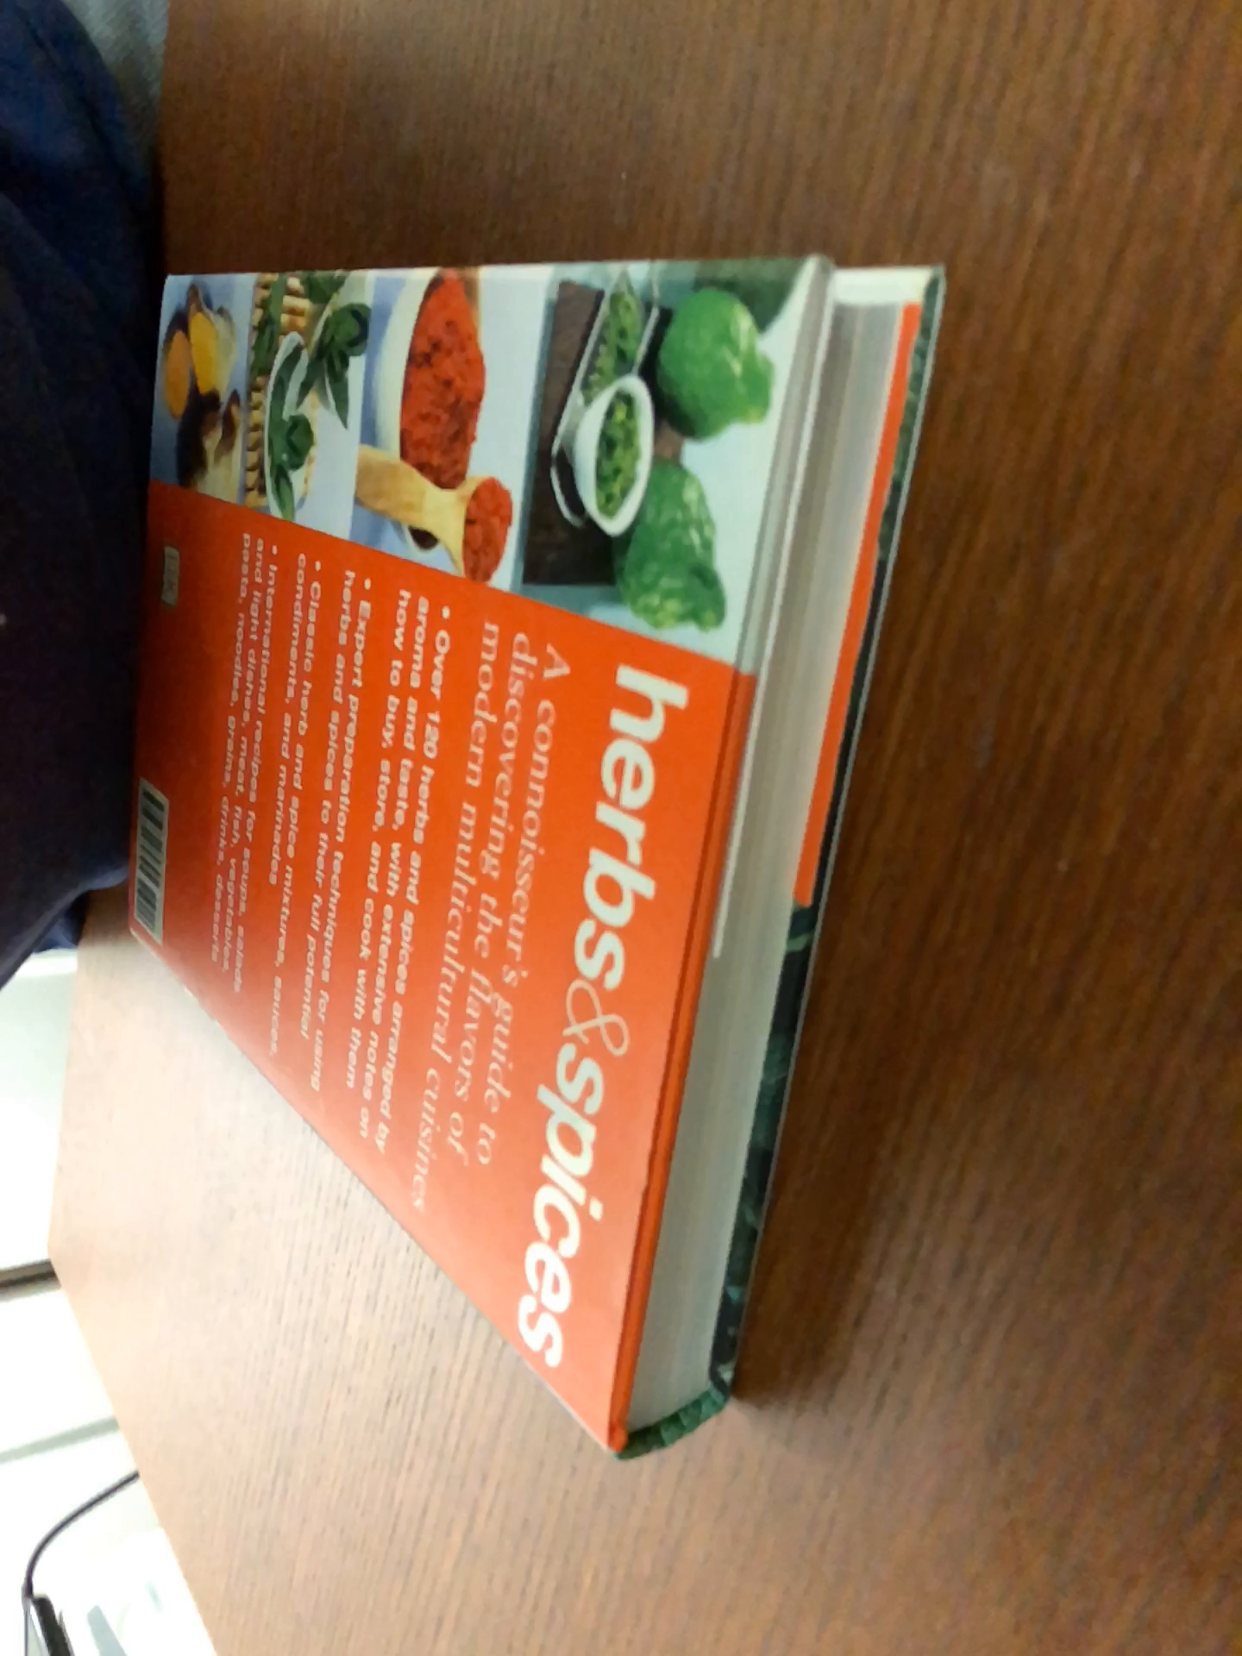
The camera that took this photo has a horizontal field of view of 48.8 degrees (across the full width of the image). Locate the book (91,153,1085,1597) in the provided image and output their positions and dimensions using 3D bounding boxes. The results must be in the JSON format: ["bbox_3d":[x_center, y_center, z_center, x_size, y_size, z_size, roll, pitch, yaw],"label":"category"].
[{"bbox_3d":[-0.050,-0.022,0.301,0.271,0.040,0.210,28,114,48],"label":"book"}]
